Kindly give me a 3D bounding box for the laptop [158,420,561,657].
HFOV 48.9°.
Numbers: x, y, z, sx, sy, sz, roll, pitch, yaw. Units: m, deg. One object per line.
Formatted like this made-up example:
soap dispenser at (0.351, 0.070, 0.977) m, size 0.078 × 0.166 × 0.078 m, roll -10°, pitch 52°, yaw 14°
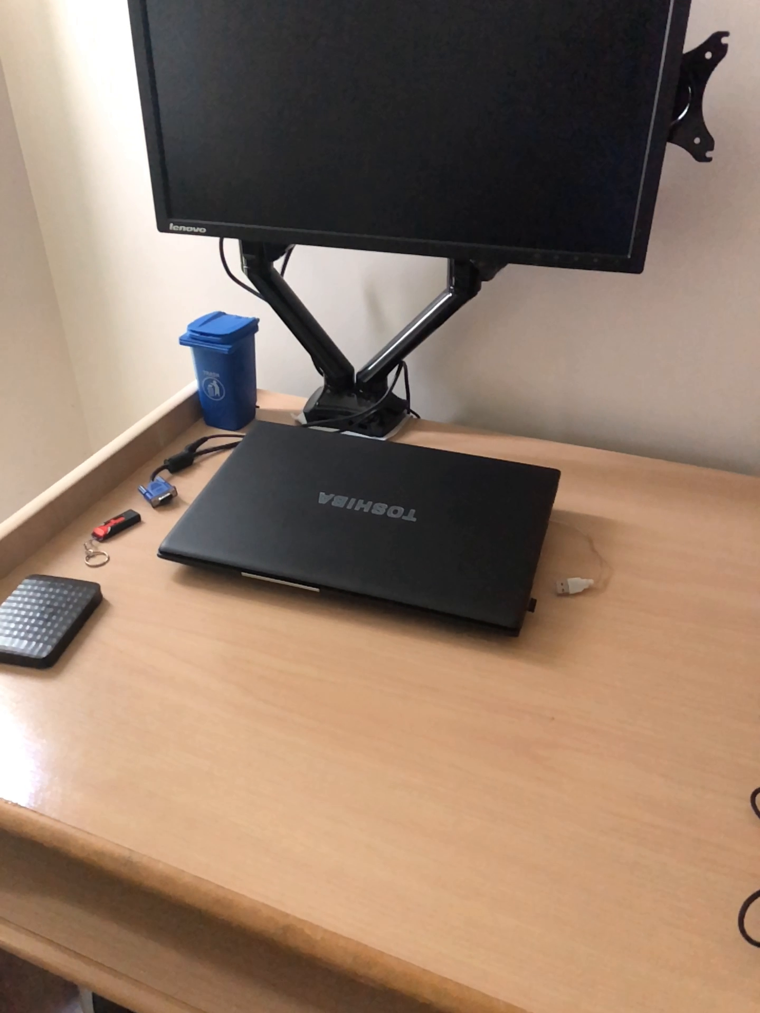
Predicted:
laptop at (-0.012, 0.016, 0.924) m, size 0.380 × 0.029 × 0.258 m, roll 11°, pitch 41°, yaw 15°
